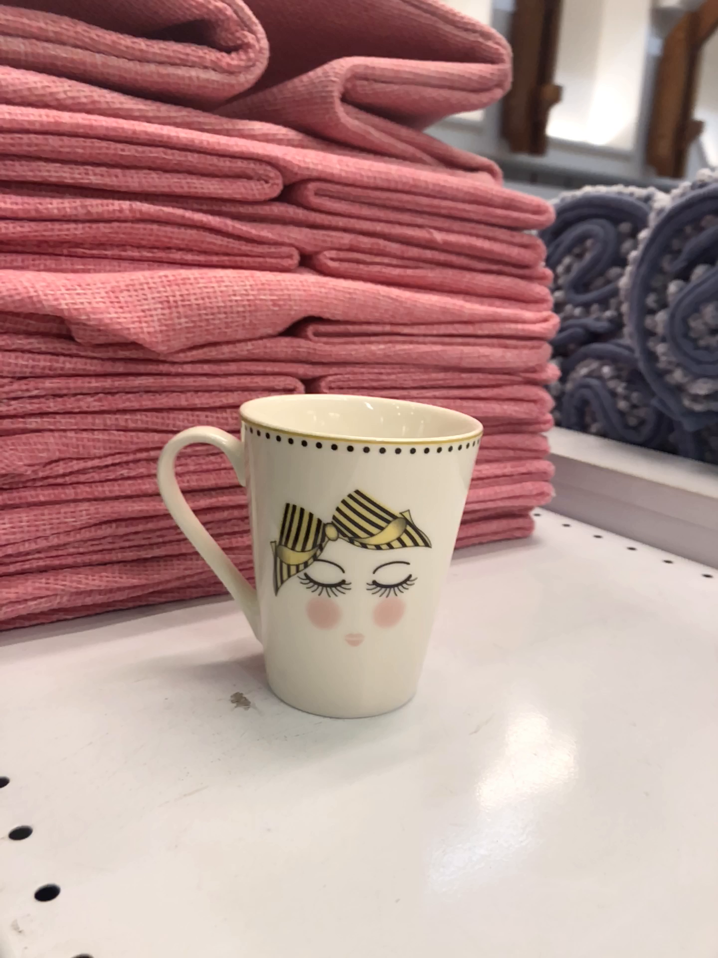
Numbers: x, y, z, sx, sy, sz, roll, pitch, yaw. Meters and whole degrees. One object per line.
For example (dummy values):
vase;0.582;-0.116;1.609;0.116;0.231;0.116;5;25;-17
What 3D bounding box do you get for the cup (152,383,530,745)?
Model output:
cup;-0.008;0.024;0.289;0.110;0.100;0.090;2;14;-2
